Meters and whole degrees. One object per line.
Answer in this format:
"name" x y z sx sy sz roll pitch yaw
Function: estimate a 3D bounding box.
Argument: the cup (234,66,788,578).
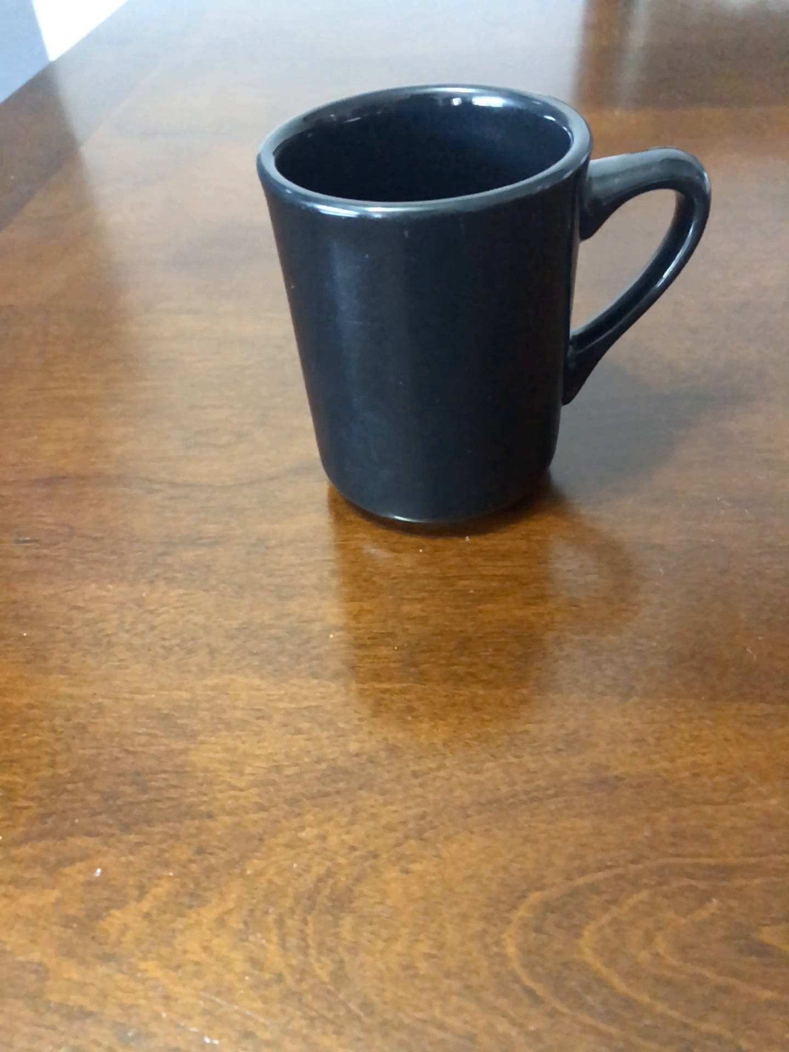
"cup" 0.026 -0.057 0.240 0.120 0.090 0.090 -7 43 -1
